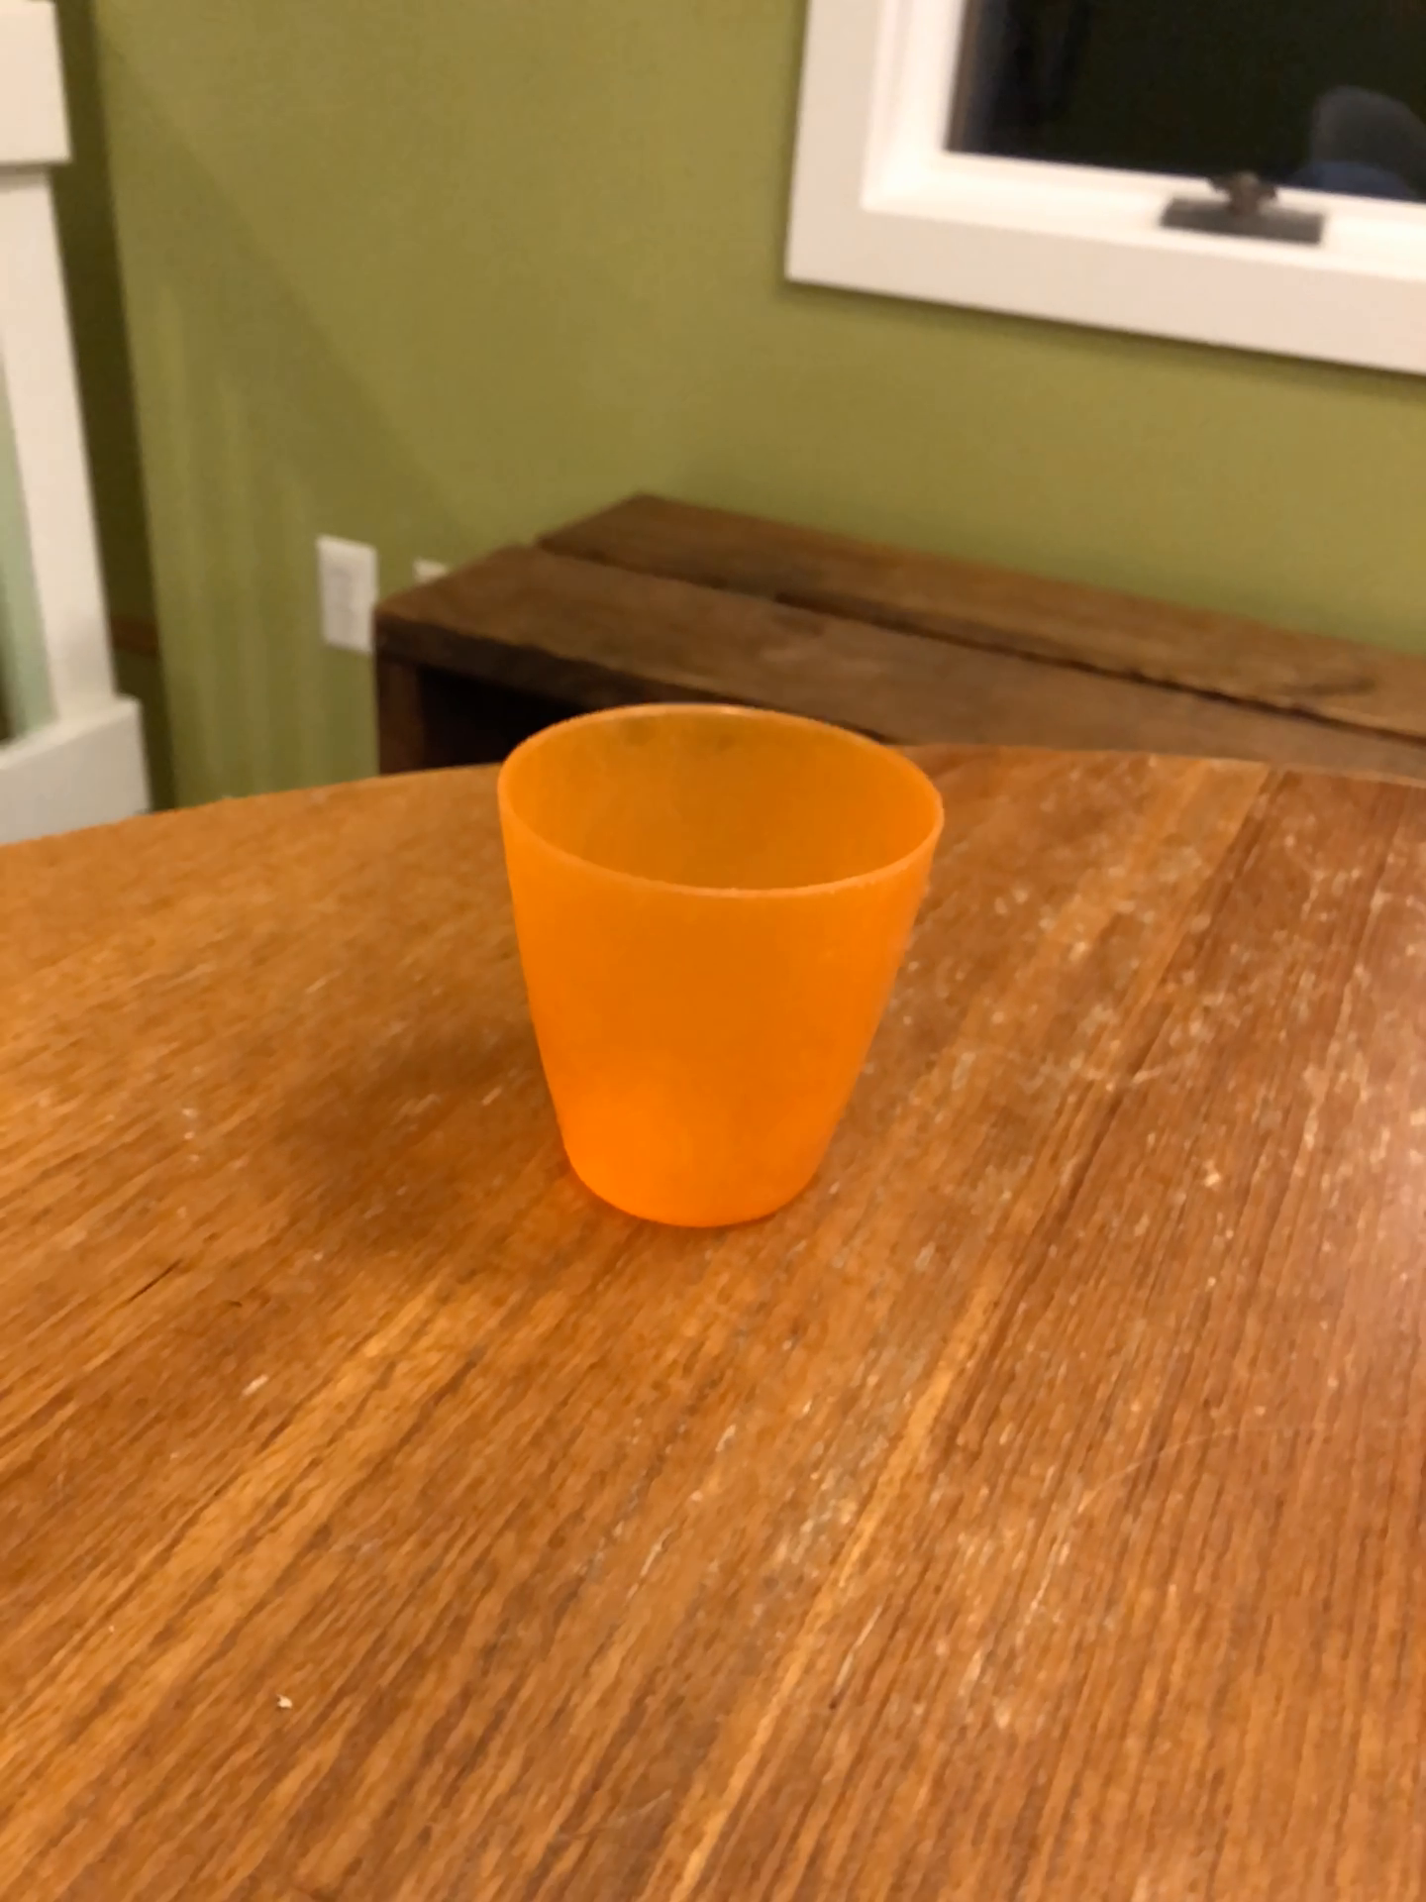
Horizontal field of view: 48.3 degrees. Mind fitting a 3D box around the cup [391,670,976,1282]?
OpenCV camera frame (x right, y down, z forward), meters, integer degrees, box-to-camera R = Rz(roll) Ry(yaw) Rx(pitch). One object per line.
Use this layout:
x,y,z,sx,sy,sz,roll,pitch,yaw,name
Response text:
-0.003,0.000,0.288,0.079,0.066,0.080,3,30,-2,cup
